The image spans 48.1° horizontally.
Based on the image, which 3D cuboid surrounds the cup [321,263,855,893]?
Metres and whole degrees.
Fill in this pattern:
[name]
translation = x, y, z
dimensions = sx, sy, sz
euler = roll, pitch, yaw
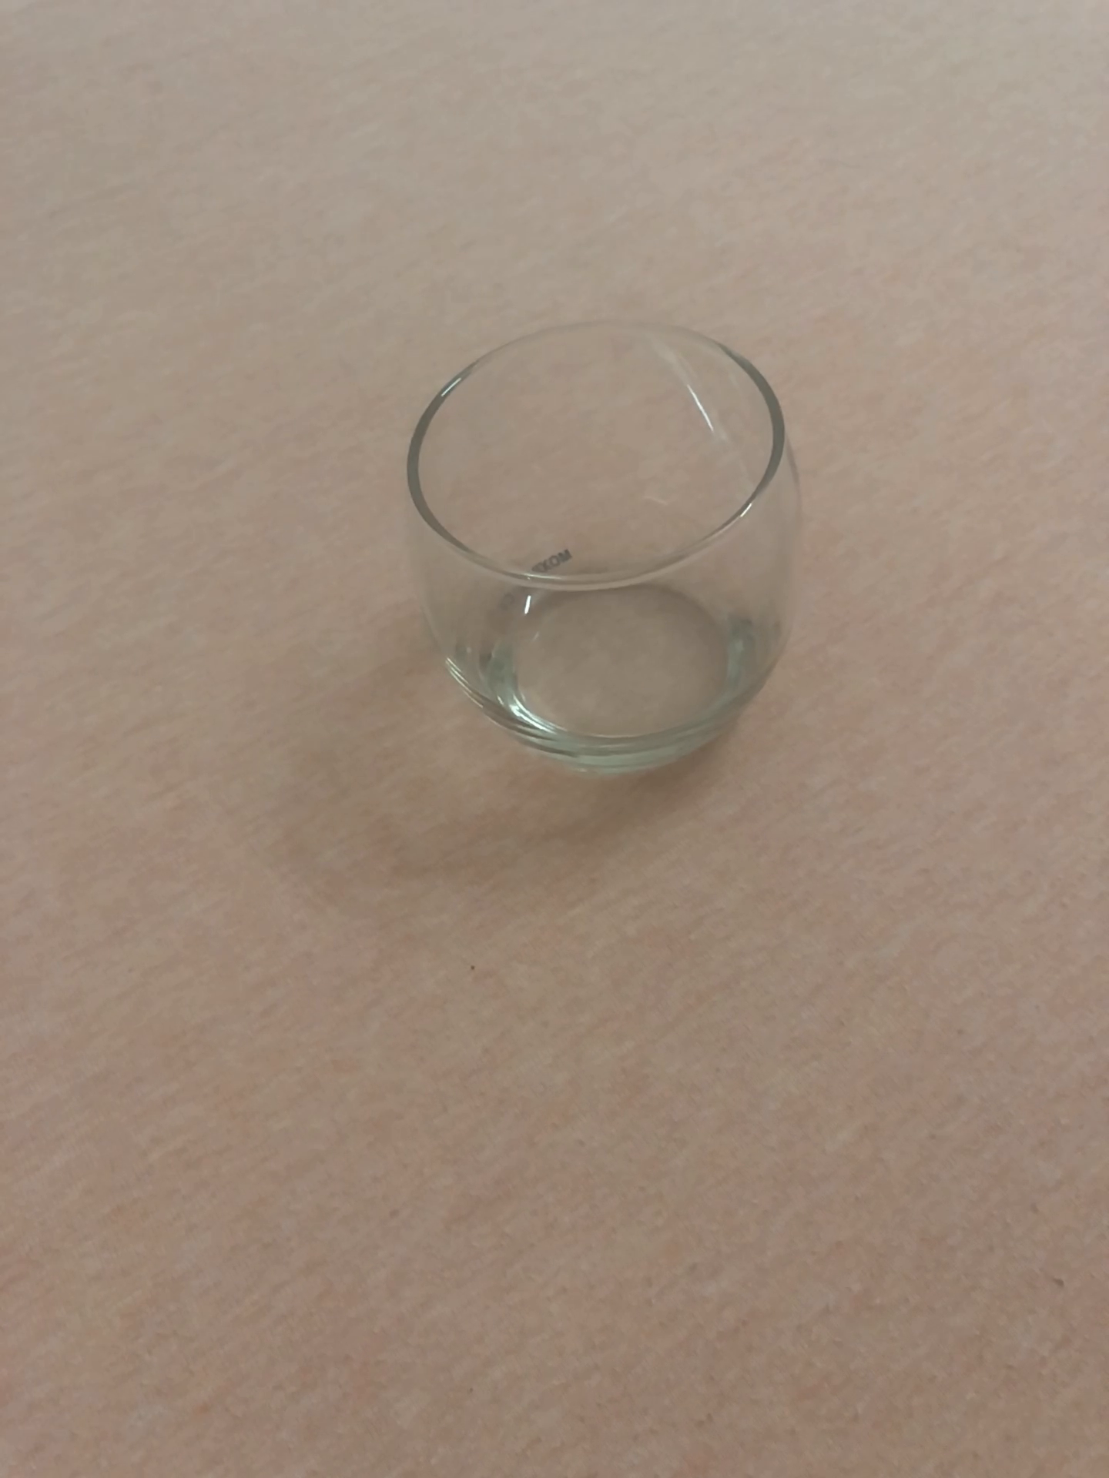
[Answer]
[cup]
translation = 0.009, -0.038, 0.313
dimensions = 0.090, 0.100, 0.090
euler = -4, 54, 6
